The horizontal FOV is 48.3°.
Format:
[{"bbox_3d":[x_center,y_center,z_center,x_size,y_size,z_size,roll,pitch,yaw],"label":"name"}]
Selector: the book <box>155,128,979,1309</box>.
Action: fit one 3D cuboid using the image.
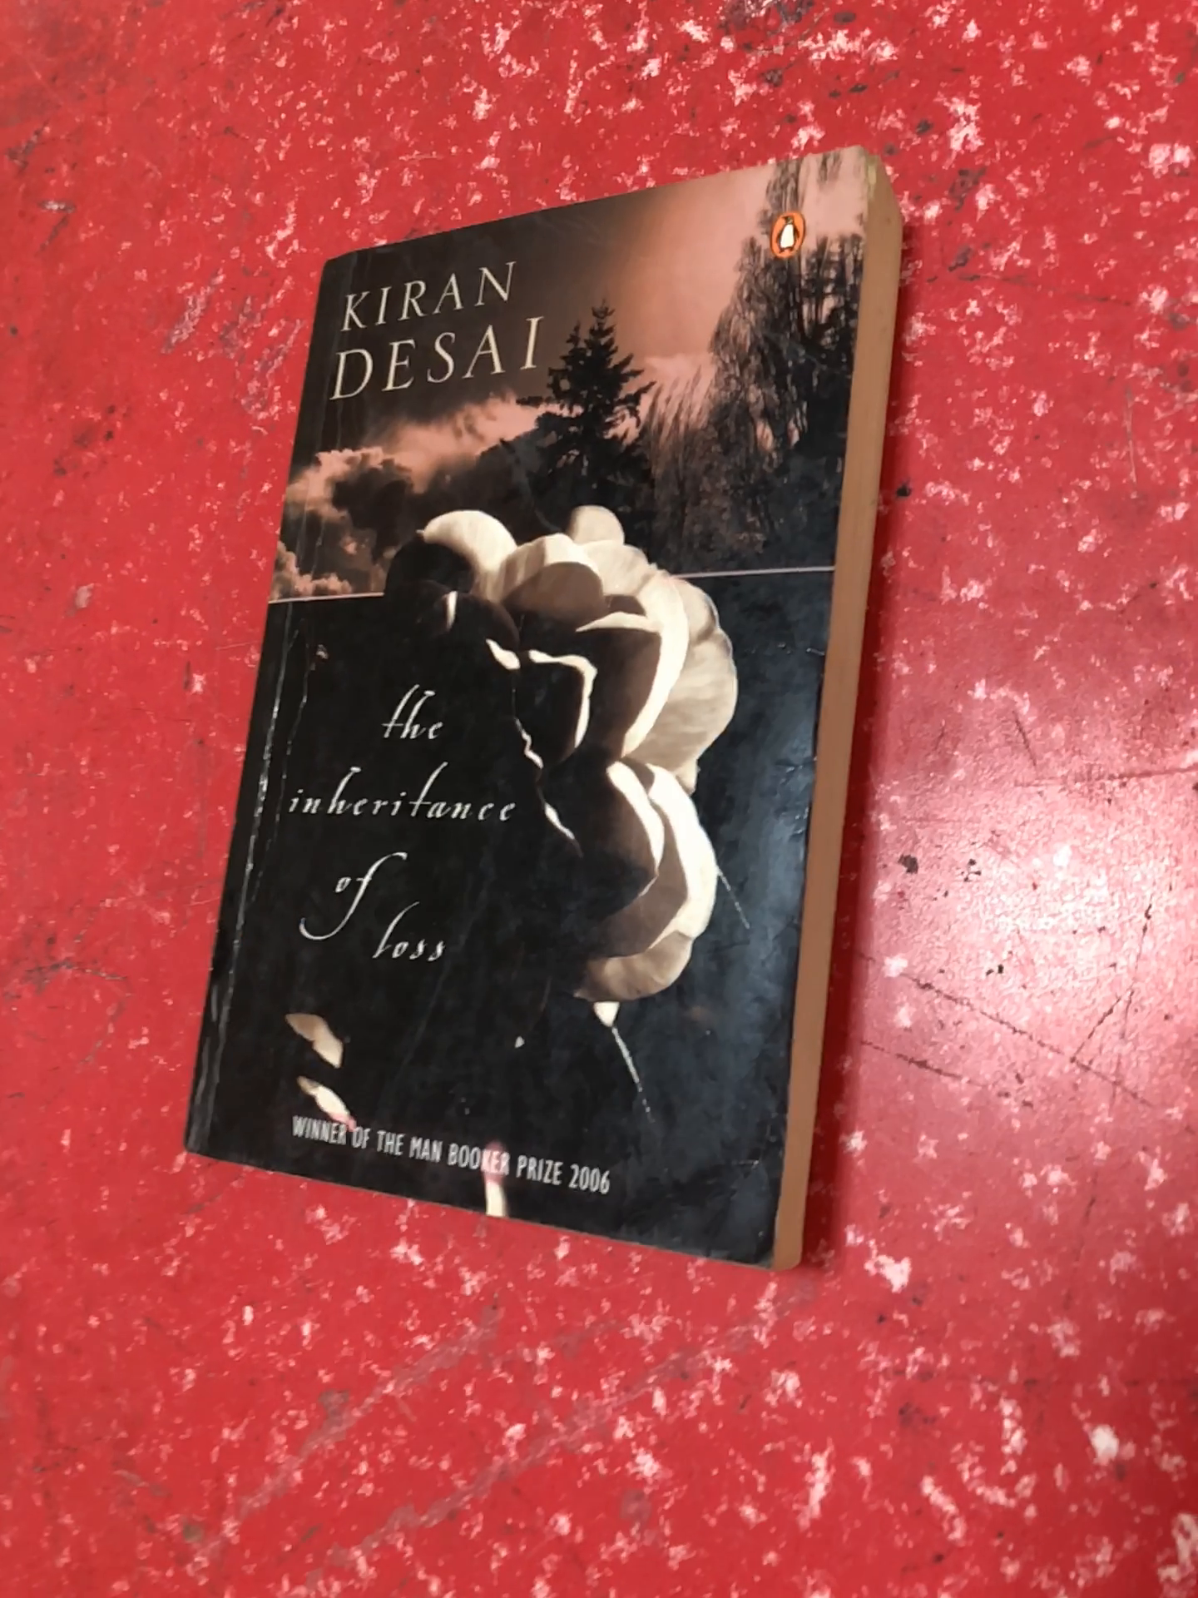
[{"bbox_3d":[-0.003,-0.015,0.266,0.130,0.060,0.190,2,80,29],"label":"book"}]
